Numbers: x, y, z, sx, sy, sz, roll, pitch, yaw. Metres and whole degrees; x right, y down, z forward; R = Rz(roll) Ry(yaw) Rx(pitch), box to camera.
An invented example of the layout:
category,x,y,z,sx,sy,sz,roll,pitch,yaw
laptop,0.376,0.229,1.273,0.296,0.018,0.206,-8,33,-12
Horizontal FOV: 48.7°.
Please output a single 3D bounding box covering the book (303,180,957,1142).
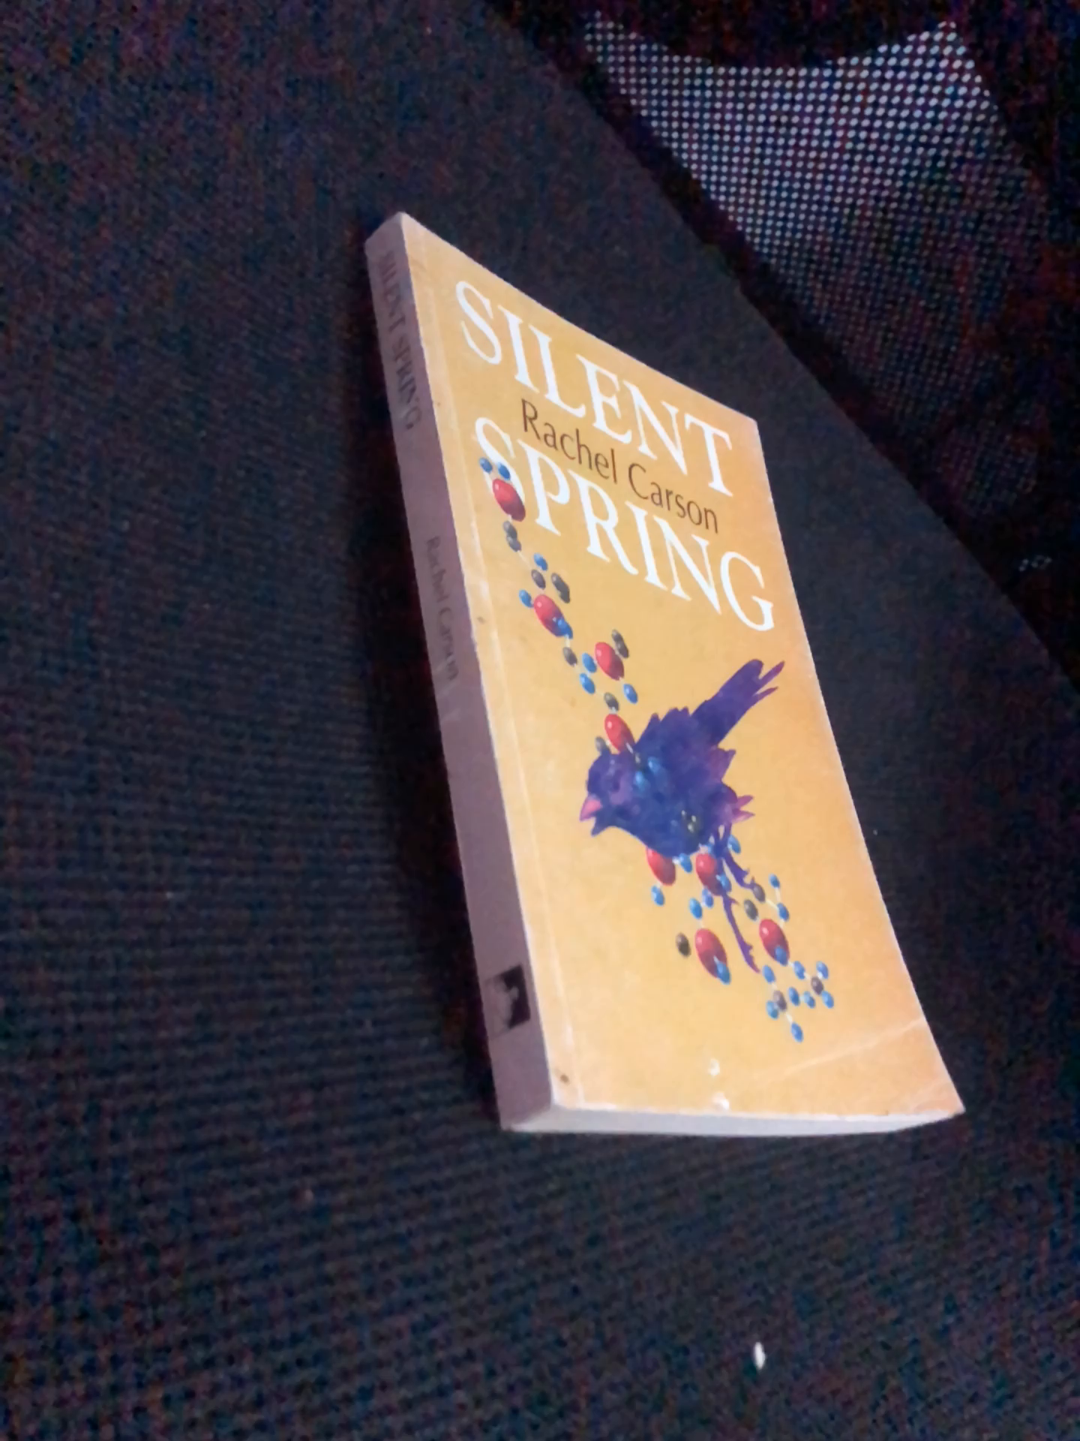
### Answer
category,x,y,z,sx,sy,sz,roll,pitch,yaw
book,0.020,-0.014,0.301,0.151,0.030,0.220,15,55,-40
